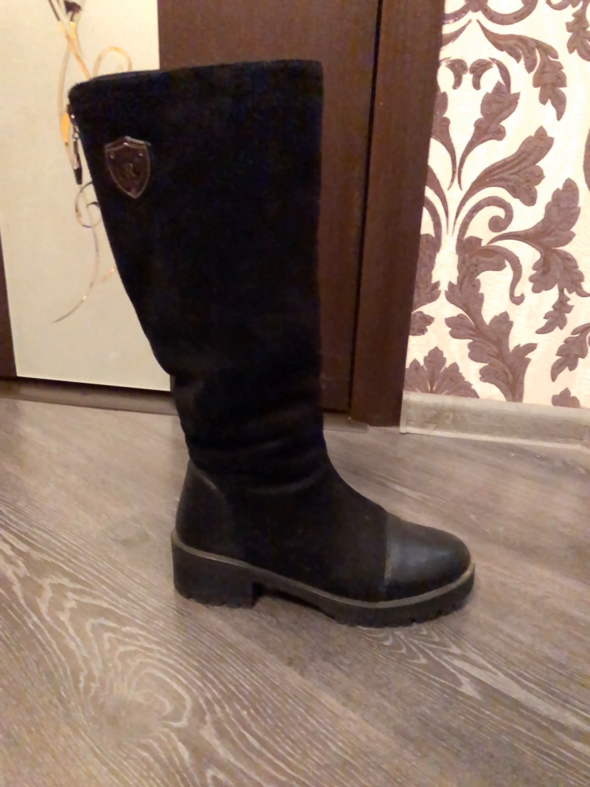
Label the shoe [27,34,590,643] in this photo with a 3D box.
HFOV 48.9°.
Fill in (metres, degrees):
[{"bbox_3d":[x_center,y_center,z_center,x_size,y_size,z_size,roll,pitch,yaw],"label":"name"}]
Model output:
[{"bbox_3d":[0.004,-0.029,0.444,0.290,0.358,0.121,3,19,3],"label":"shoe"}]
